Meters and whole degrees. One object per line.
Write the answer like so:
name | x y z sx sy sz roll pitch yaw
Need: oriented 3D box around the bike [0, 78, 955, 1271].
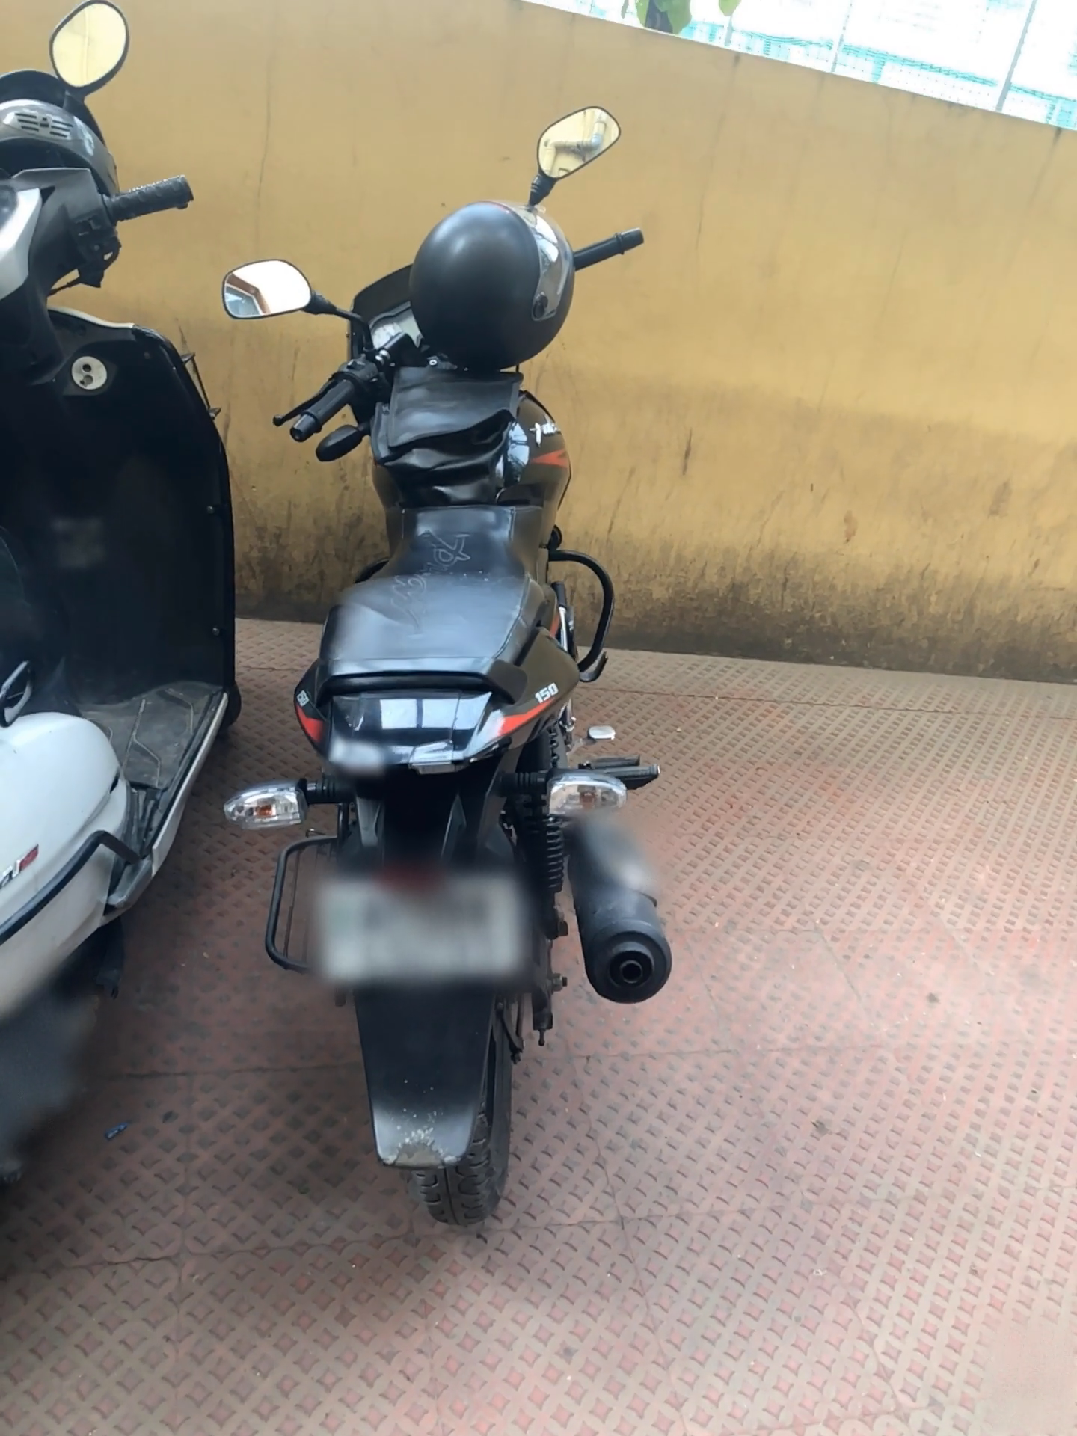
bike | -0.282 -0.231 1.857 0.826 1.056 1.612 5 32 -14
